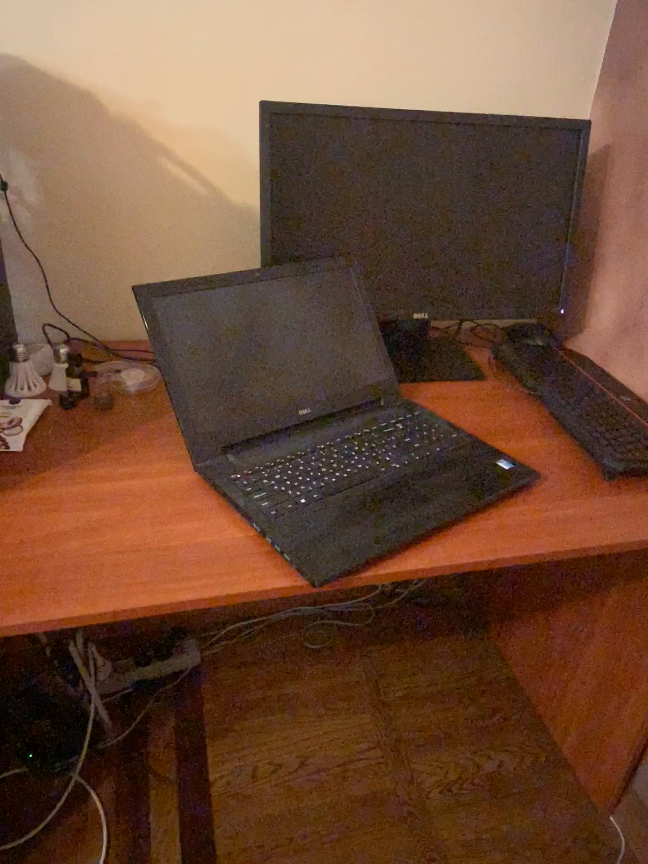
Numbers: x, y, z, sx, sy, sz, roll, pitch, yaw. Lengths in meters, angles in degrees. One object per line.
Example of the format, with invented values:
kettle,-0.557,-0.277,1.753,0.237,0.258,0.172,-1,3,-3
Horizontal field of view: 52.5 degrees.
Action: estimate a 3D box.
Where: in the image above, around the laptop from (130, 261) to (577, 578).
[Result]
laptop,0.016,-0.061,0.818,0.356,0.181,0.393,-16,34,-34
